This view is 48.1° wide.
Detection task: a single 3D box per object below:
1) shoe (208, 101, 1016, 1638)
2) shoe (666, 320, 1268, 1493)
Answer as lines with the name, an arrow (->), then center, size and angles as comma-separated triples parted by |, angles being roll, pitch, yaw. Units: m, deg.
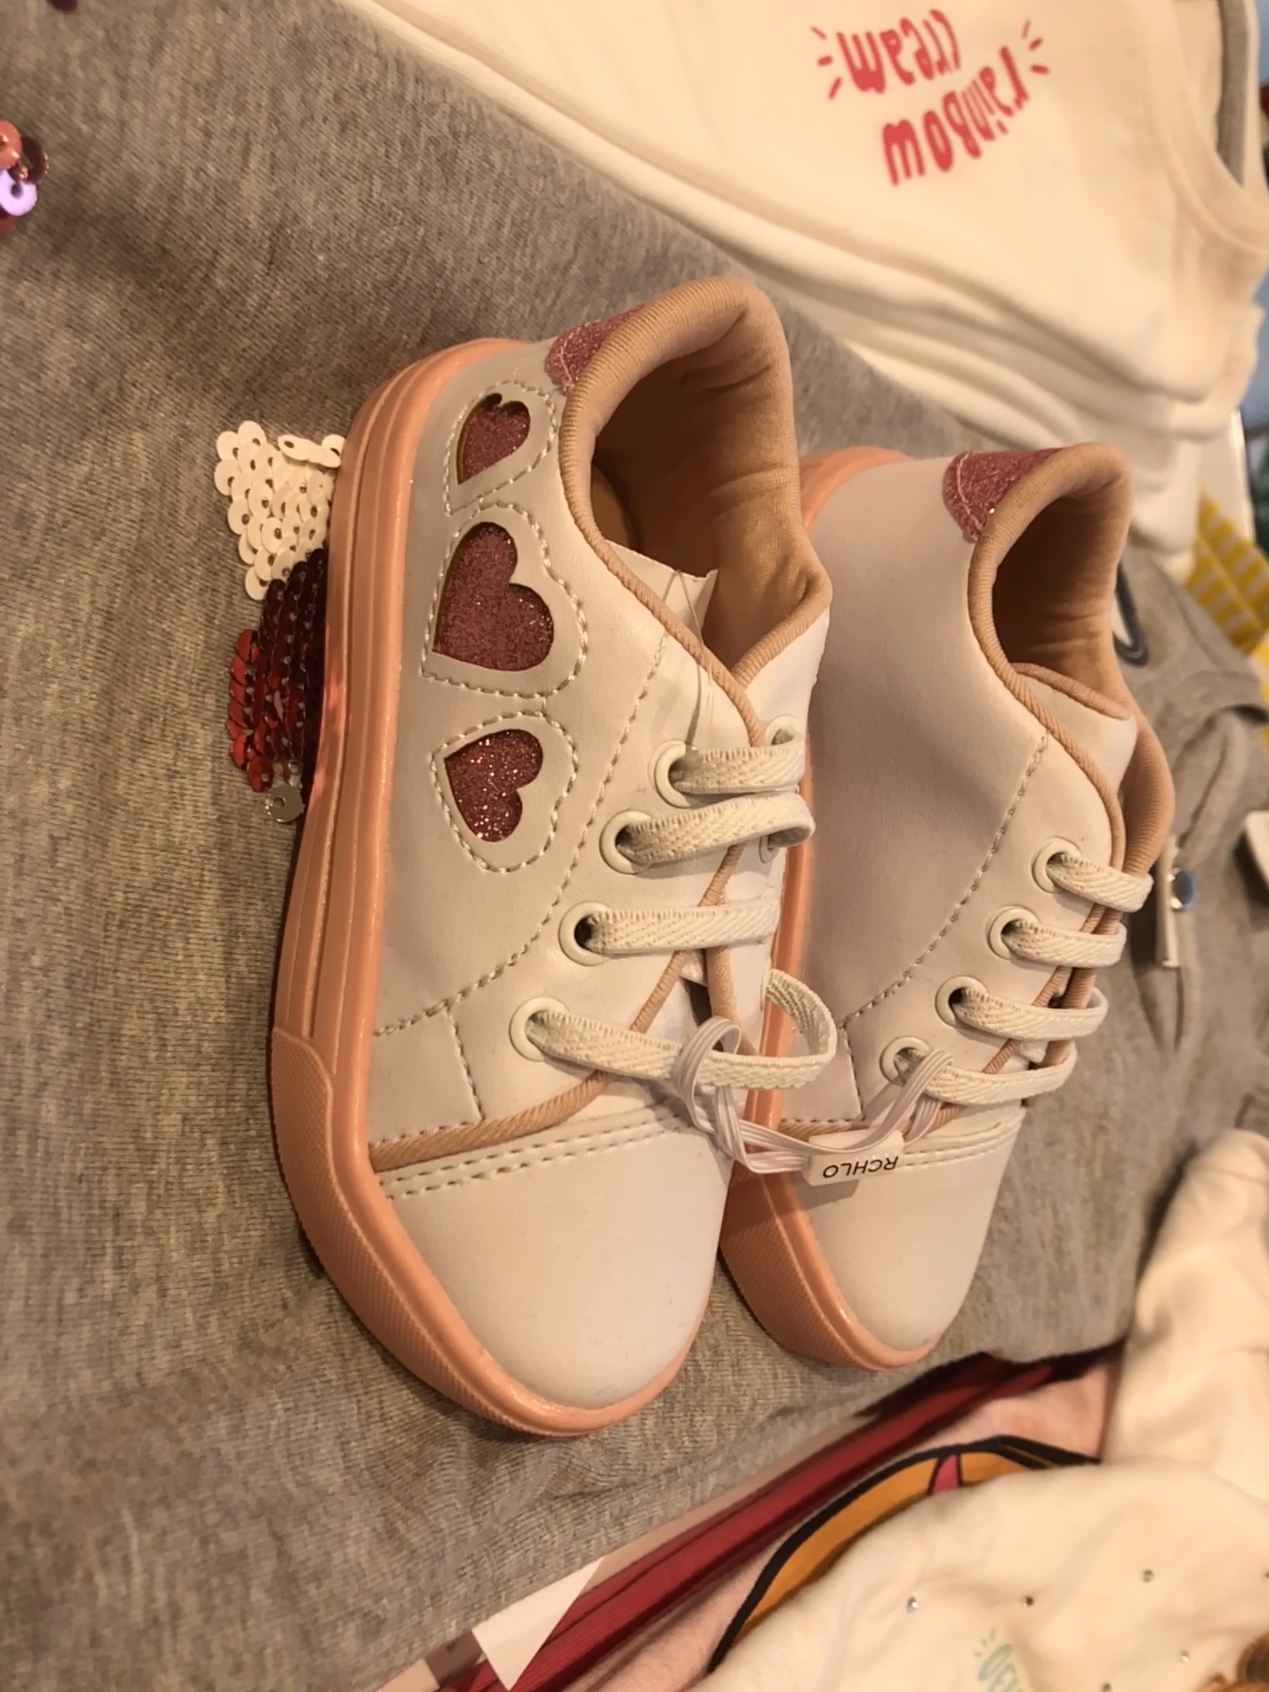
shoe -> 0.000, 0.002, 0.188 | 0.070, 0.070, 0.150 | 6, 86, -52
shoe -> 0.058, 0.008, 0.231 | 0.070, 0.070, 0.150 | -3, 90, -52
